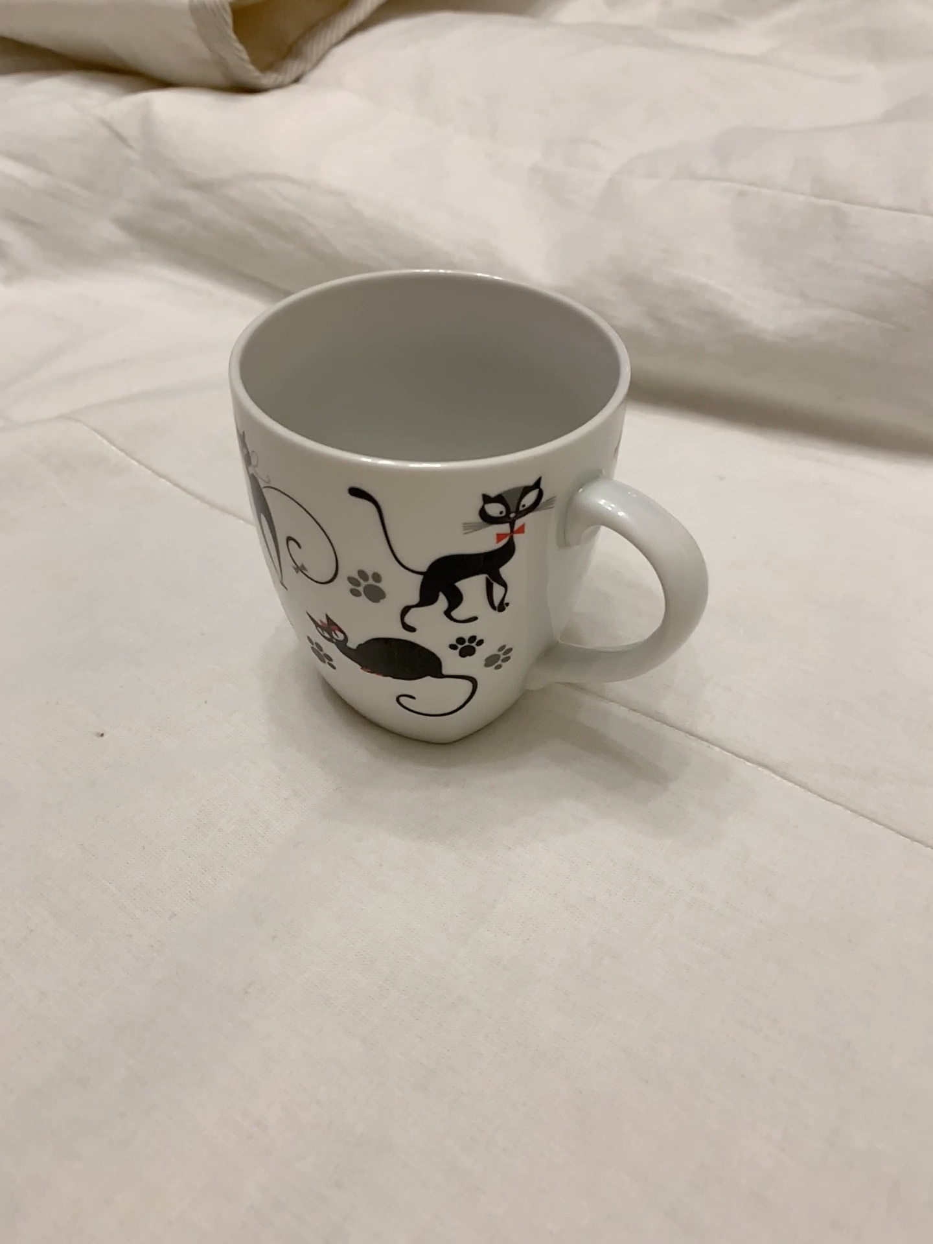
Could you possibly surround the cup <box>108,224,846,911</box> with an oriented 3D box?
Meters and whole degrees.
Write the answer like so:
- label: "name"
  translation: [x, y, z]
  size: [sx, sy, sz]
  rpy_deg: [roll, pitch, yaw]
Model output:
- label: "cup"
  translation: [-0.001, -0.021, 0.211]
  size: [0.081, 0.077, 0.119]
  rpy_deg: [-34, 51, -30]
